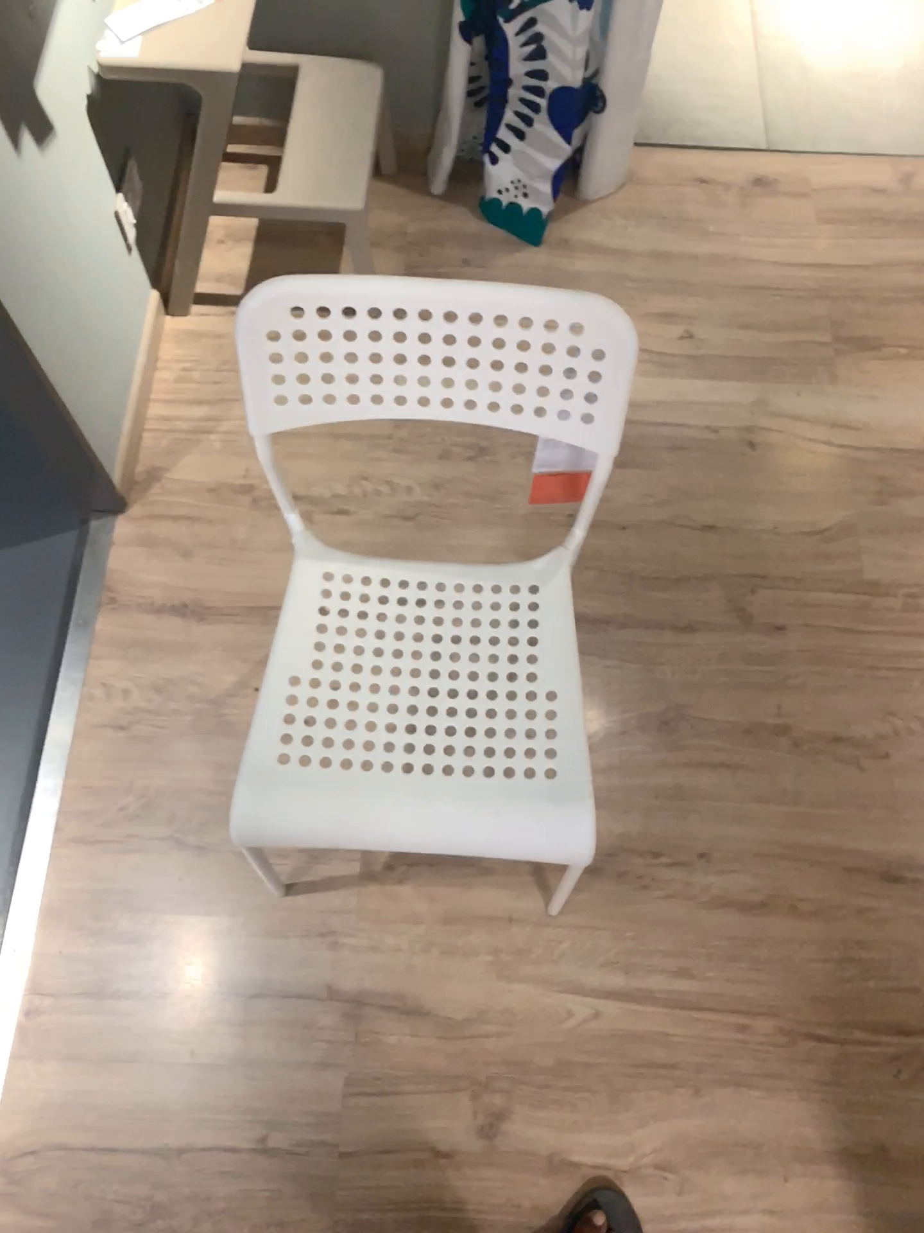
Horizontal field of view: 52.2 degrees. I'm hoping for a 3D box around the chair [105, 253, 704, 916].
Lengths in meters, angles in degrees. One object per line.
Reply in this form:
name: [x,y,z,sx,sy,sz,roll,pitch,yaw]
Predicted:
chair: [-0.043,0.028,1.060,0.430,0.610,0.530,1,68,-1]
